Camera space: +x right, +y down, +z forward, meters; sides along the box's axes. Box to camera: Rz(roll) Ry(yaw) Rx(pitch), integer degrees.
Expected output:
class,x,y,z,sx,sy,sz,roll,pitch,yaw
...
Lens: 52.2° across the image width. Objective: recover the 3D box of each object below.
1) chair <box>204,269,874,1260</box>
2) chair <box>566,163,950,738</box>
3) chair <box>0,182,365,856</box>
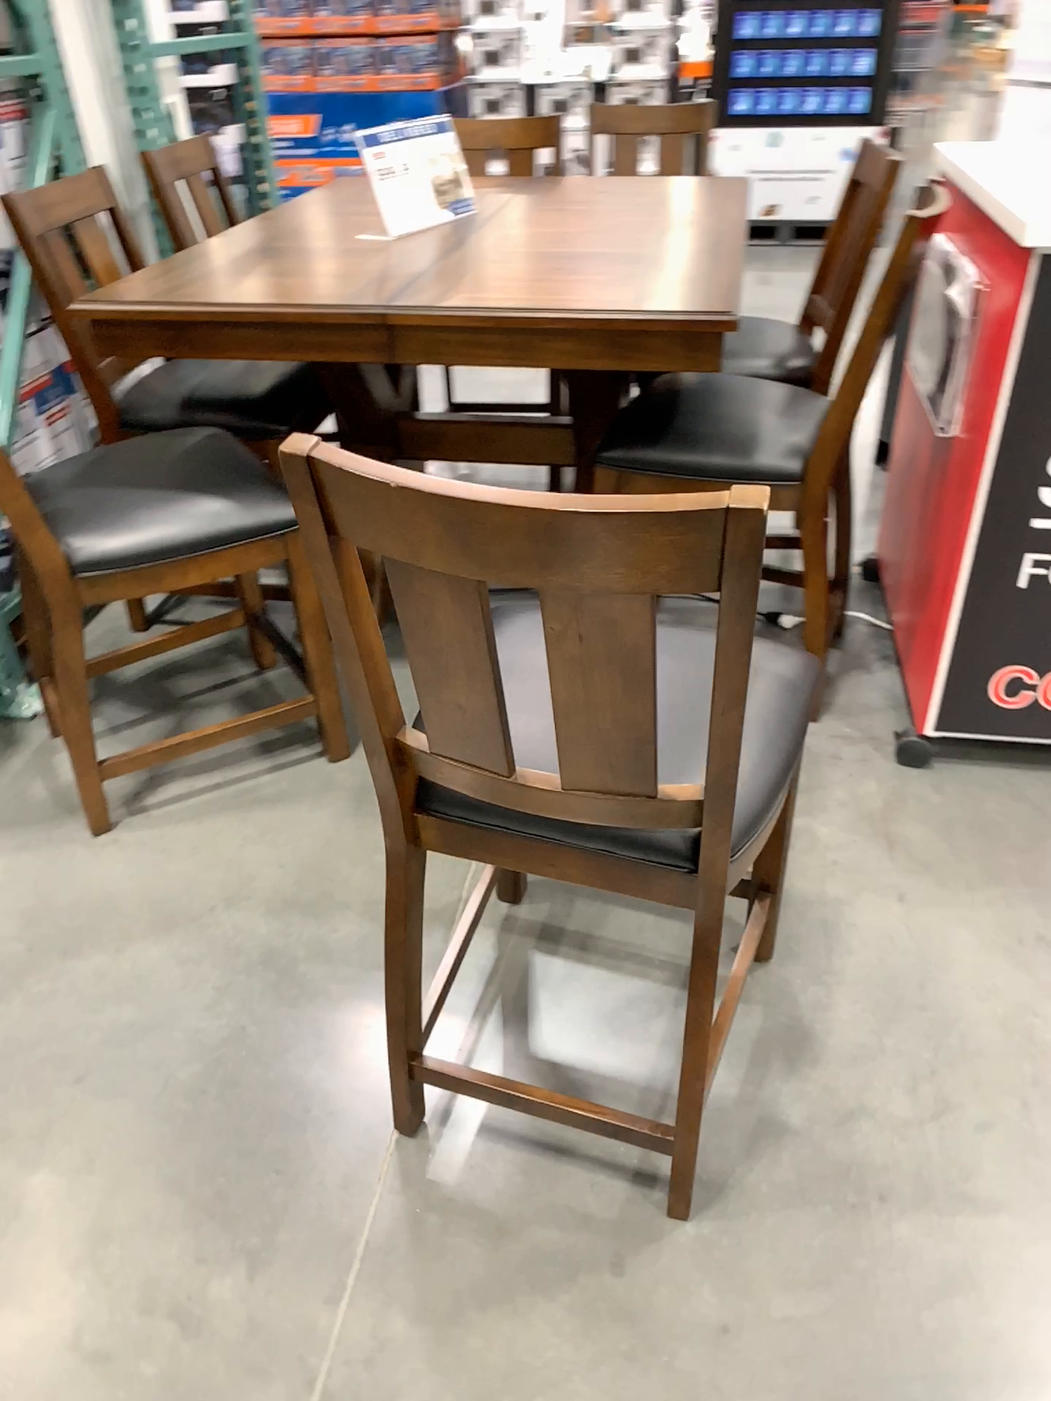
class,x,y,z,sx,sy,sz,roll,pitch,yaw
chair,0.073,0.070,1.356,0.525,1.021,0.590,9,35,15
chair,0.472,-0.547,2.249,0.598,0.952,0.657,10,35,17
chair,-0.730,-0.354,2.019,0.588,1.021,0.547,-18,37,-24
